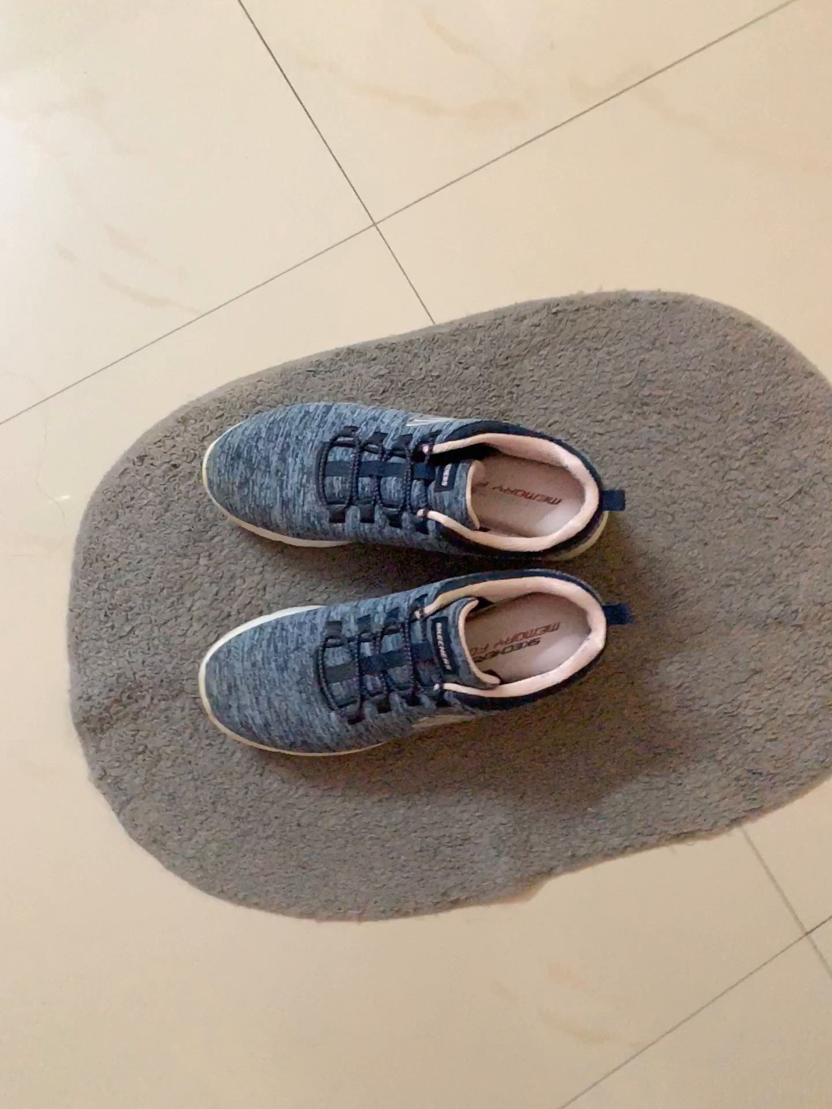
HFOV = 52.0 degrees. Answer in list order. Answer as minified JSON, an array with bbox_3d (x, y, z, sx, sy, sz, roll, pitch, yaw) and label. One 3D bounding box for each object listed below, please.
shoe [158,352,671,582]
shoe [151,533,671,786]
[{"bbox_3d":[-0.001,-0.045,0.510,0.270,0.100,0.090,6,85,-5],"label":"shoe"},{"bbox_3d":[-0.004,0.065,0.544,0.290,0.100,0.100,-9,82,-6],"label":"shoe"}]
